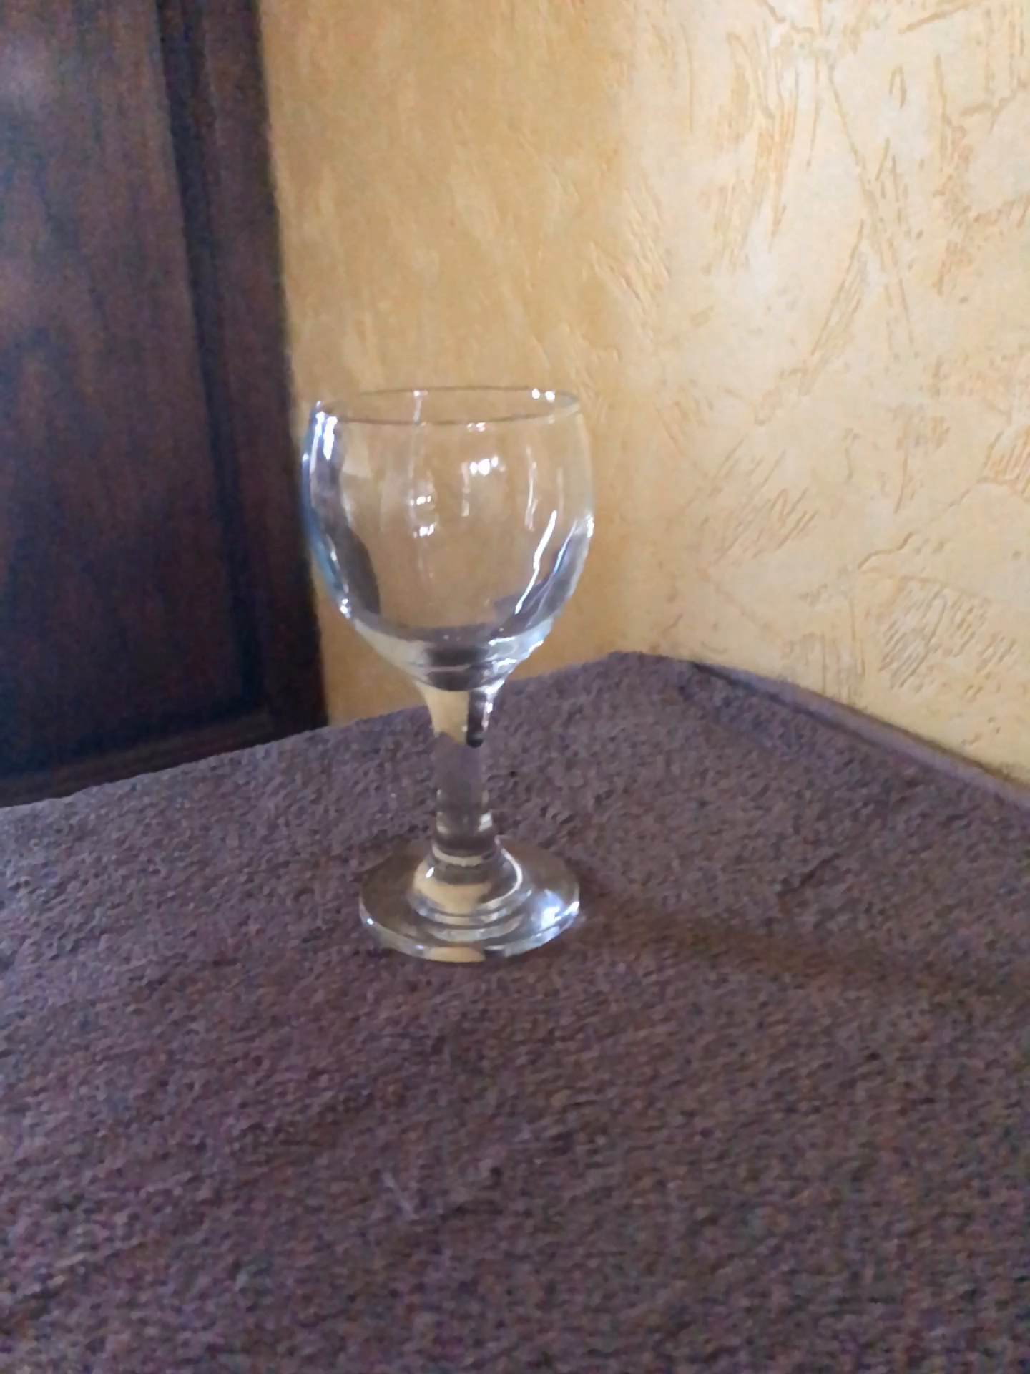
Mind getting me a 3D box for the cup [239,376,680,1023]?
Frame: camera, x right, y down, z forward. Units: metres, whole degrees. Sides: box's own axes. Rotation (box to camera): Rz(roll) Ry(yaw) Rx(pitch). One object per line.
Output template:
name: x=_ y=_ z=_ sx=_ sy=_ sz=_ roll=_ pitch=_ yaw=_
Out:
cup: x=-0.009 y=-0.004 z=0.275 sx=0.070 sy=0.129 sz=0.070 roll=-2 pitch=20 yaw=1
